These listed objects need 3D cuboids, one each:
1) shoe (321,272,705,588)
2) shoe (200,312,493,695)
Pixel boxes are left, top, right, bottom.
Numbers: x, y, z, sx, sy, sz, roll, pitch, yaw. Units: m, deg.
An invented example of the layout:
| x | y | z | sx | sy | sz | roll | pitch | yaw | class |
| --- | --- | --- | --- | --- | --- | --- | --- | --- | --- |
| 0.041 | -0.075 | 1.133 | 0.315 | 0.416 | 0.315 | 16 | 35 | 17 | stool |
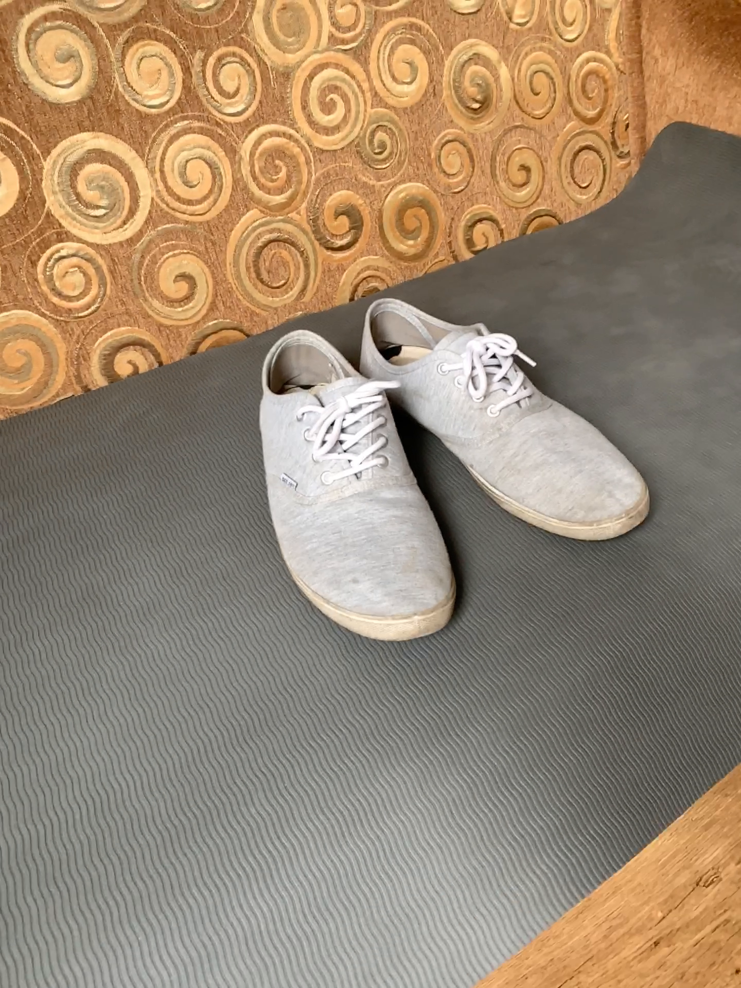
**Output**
| x | y | z | sx | sy | sz | roll | pitch | yaw | class |
| --- | --- | --- | --- | --- | --- | --- | --- | --- | --- |
| 0.088 | -0.062 | 0.559 | 0.110 | 0.080 | 0.261 | -30 | 51 | -26 | shoe |
| -0.029 | -0.012 | 0.506 | 0.110 | 0.080 | 0.261 | -14 | 45 | -13 | shoe |
